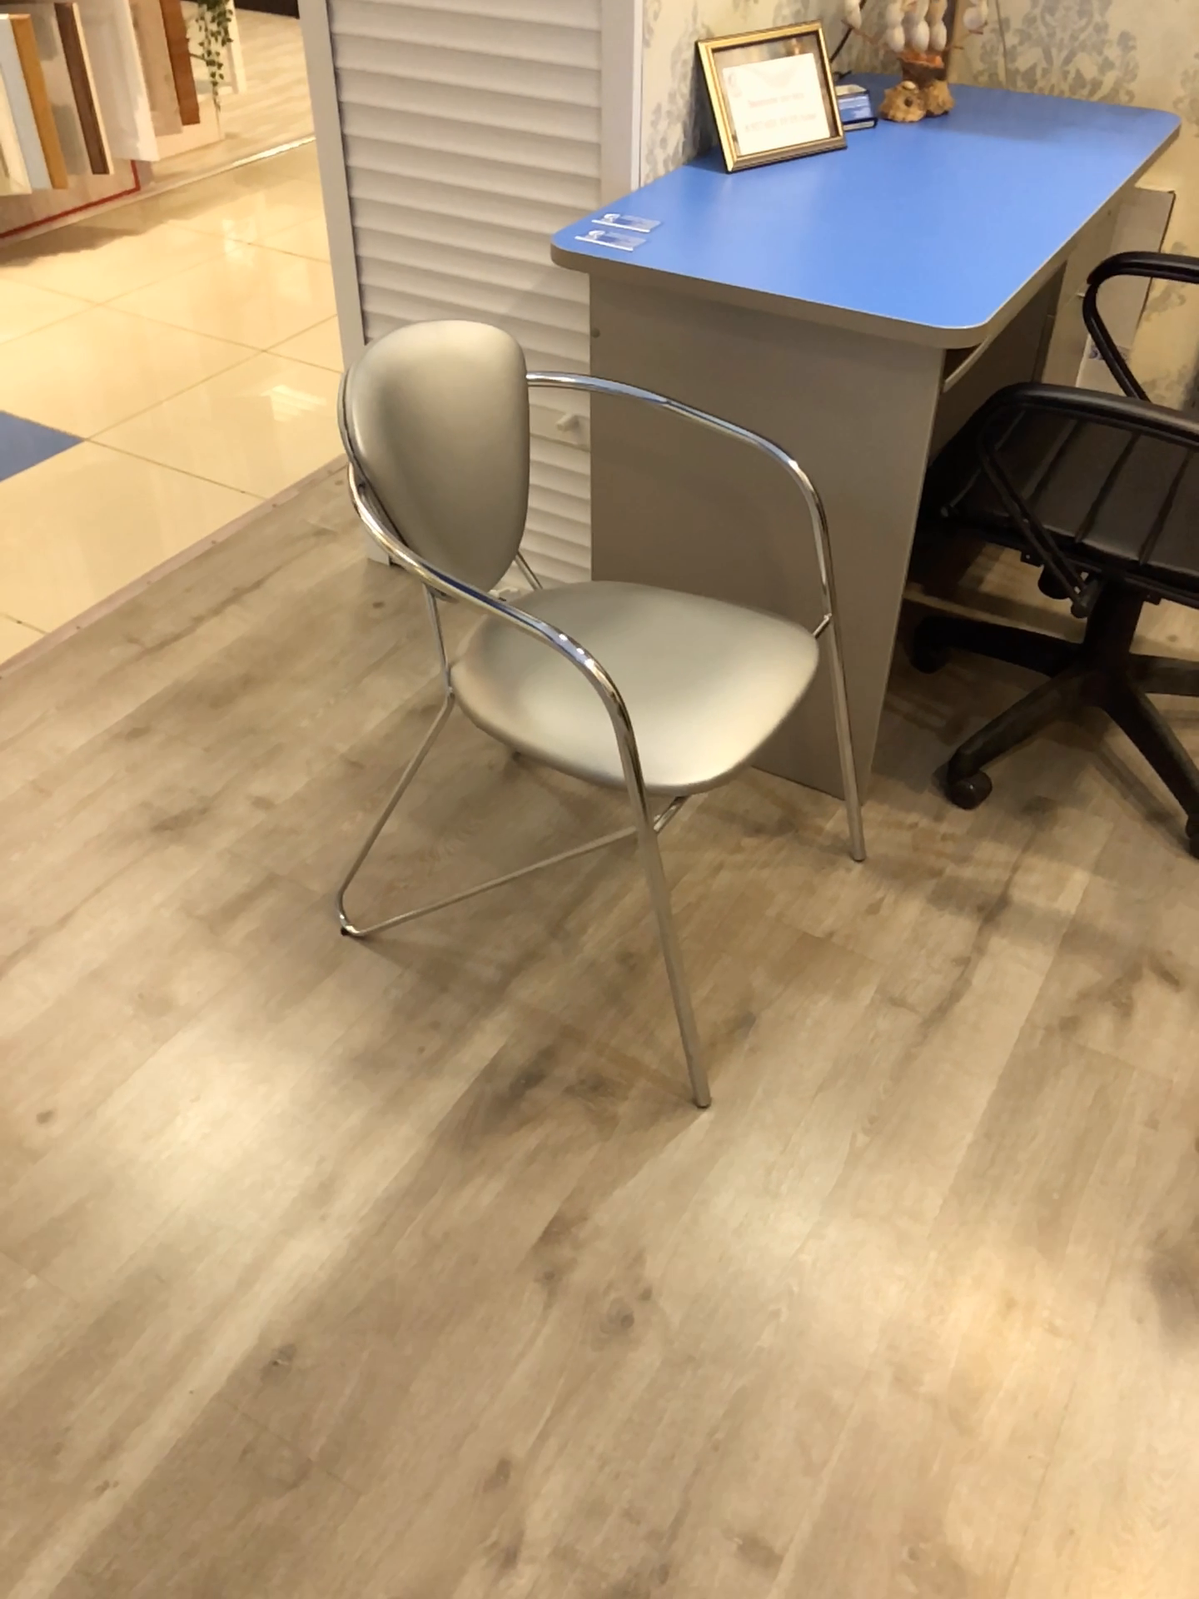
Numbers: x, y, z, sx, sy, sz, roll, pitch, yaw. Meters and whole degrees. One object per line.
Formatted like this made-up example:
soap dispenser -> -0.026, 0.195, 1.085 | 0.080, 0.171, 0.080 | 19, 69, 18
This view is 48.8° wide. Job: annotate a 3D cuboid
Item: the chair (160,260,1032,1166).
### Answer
chair -> 0.016, -0.143, 1.661 | 0.731, 0.746, 0.612 | 21, 45, 22
